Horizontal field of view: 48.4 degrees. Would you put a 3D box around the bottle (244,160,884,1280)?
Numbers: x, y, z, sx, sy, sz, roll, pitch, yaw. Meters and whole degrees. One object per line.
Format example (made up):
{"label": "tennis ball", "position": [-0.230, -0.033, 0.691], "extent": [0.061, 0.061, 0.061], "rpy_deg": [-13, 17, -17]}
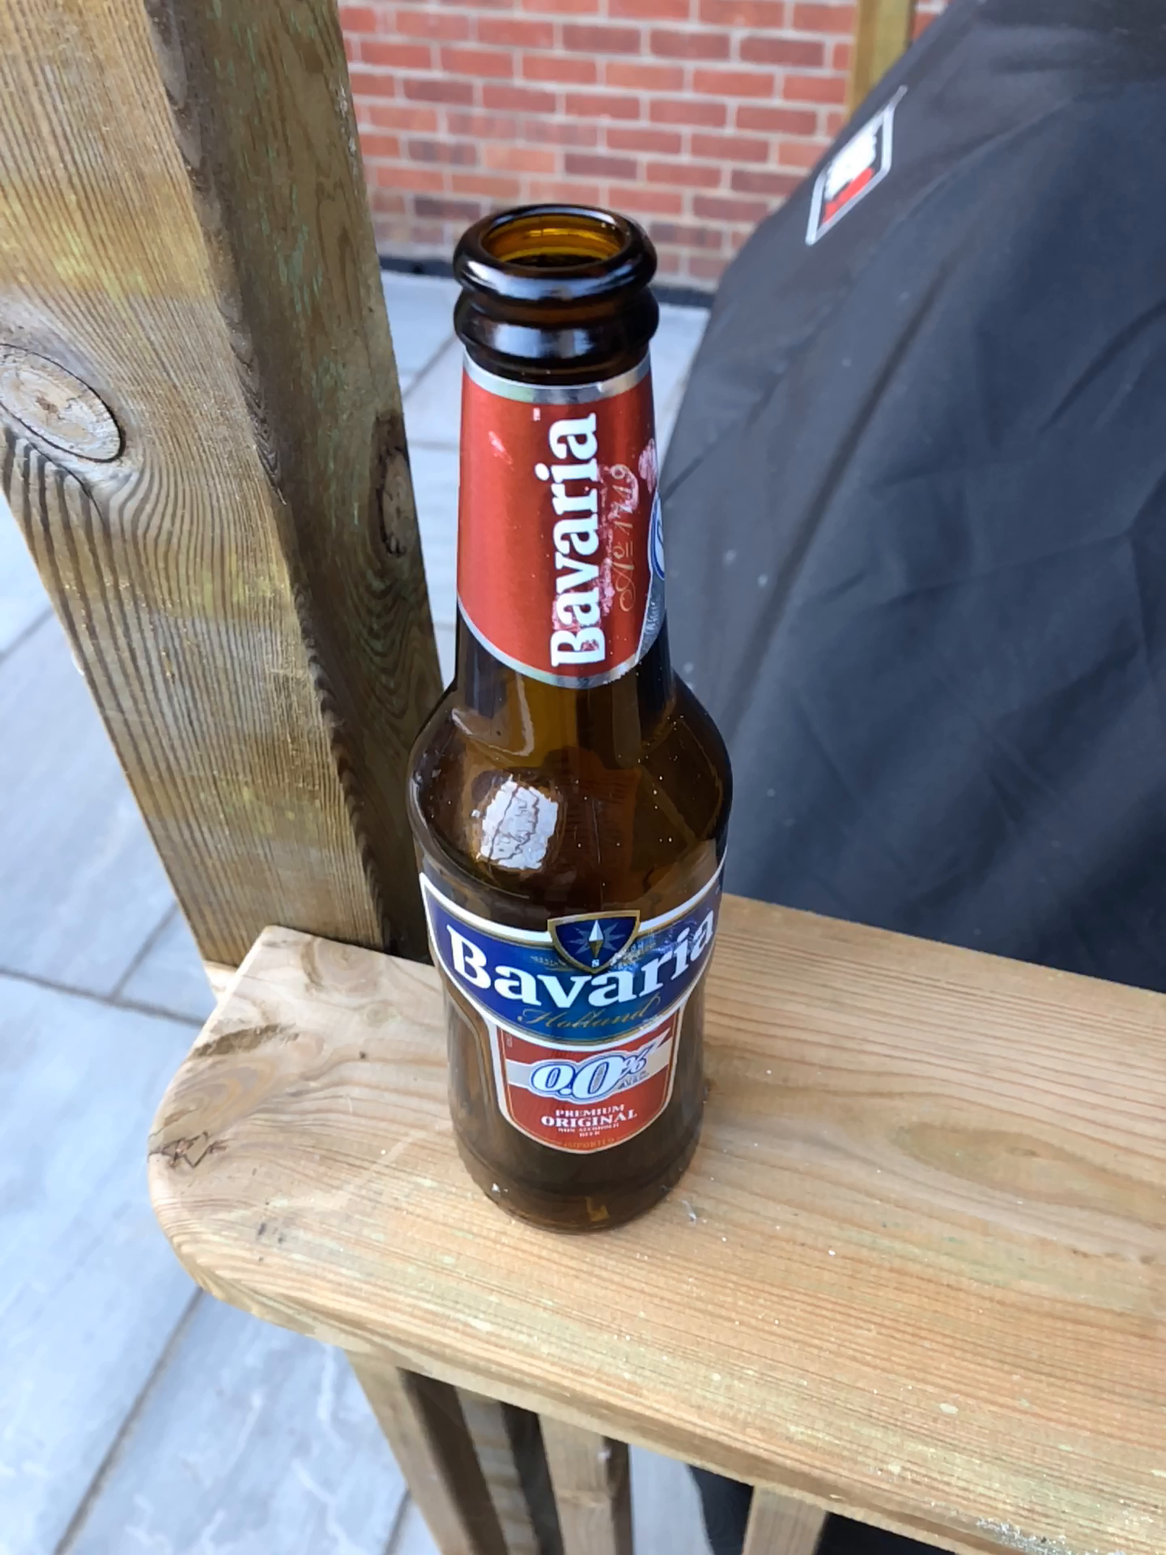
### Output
{"label": "bottle", "position": [-0.002, 0.010, 0.235], "extent": [0.070, 0.208, 0.060], "rpy_deg": [-3, 43, -2]}
